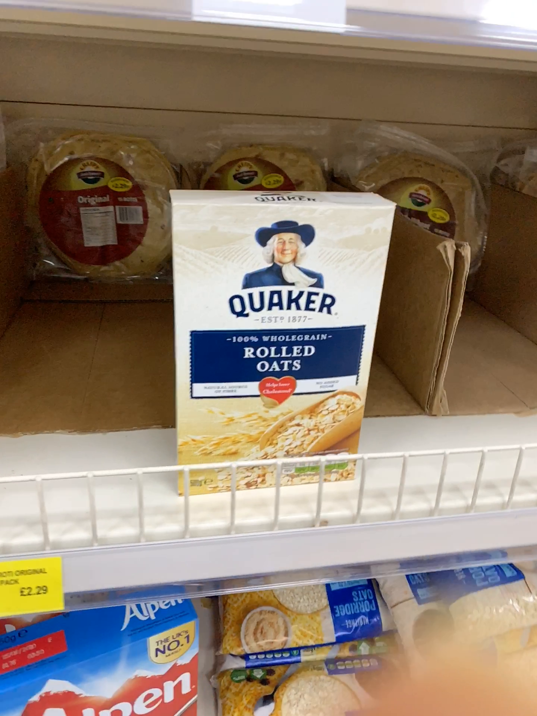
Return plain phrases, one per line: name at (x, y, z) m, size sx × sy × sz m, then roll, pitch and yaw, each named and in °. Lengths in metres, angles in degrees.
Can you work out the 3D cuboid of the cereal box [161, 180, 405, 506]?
cereal box at (0.002, -0.006, 0.403) m, size 0.150 × 0.228 × 0.050 m, roll -2°, pitch 26°, yaw -12°
